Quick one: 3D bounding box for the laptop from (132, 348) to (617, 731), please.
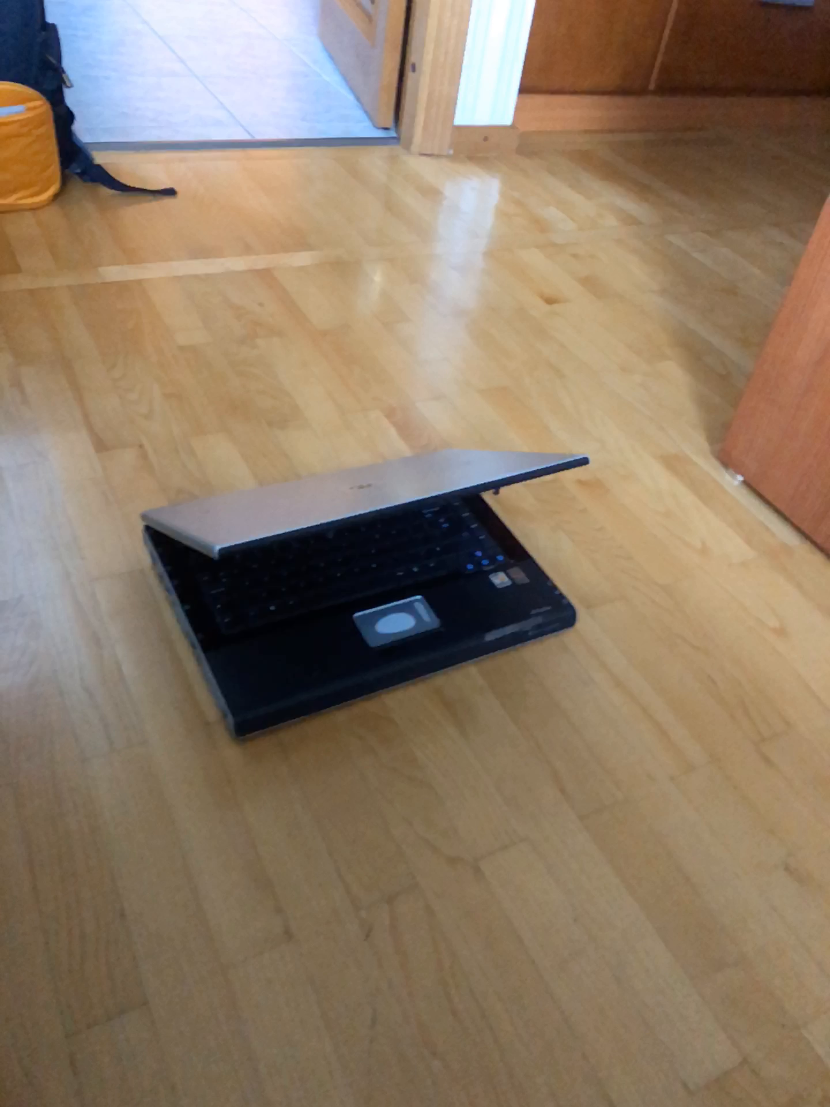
[{"bbox_3d":[-0.046,-0.037,0.873,0.363,0.147,0.269,-15,49,-27],"label":"laptop"}]
